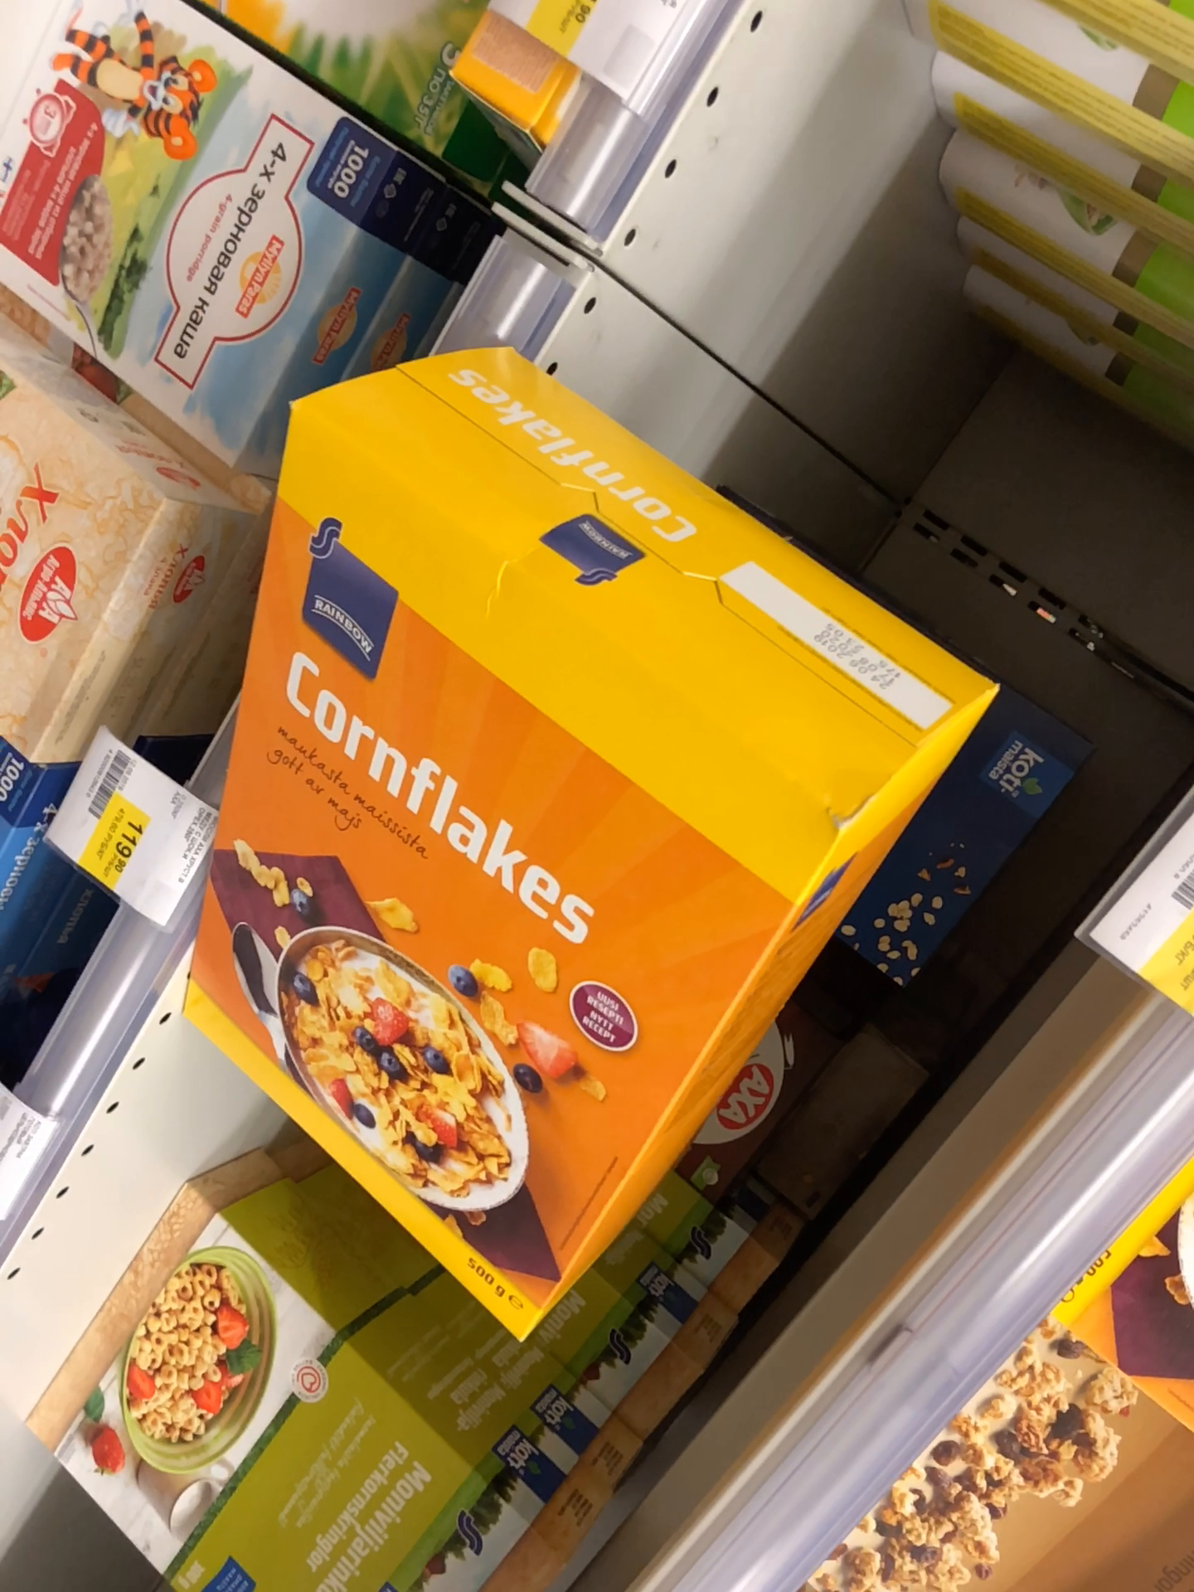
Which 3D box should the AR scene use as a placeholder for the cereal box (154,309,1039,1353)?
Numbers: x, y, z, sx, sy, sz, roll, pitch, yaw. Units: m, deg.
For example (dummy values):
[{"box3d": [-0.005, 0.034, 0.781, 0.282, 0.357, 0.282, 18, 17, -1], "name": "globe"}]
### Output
[{"box3d": [-0.027, 0.023, 0.461, 0.120, 0.199, 0.290, -36, 158, -45], "name": "cereal box"}]
